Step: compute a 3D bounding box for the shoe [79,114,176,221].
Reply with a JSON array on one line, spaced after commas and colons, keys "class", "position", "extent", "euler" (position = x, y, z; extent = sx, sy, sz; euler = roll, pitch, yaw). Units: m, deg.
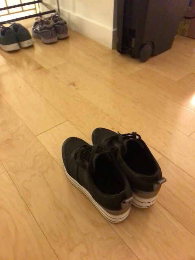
[{"class": "shoe", "position": [0.061, 0.081, 0.554], "extent": [0.110, 0.099, 0.251], "euler": [-22, 47, -21]}]

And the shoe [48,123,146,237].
[{"class": "shoe", "position": [-0.013, 0.106, 0.524], "extent": [0.100, 0.099, 0.251], "euler": [-26, 49, -25]}]
